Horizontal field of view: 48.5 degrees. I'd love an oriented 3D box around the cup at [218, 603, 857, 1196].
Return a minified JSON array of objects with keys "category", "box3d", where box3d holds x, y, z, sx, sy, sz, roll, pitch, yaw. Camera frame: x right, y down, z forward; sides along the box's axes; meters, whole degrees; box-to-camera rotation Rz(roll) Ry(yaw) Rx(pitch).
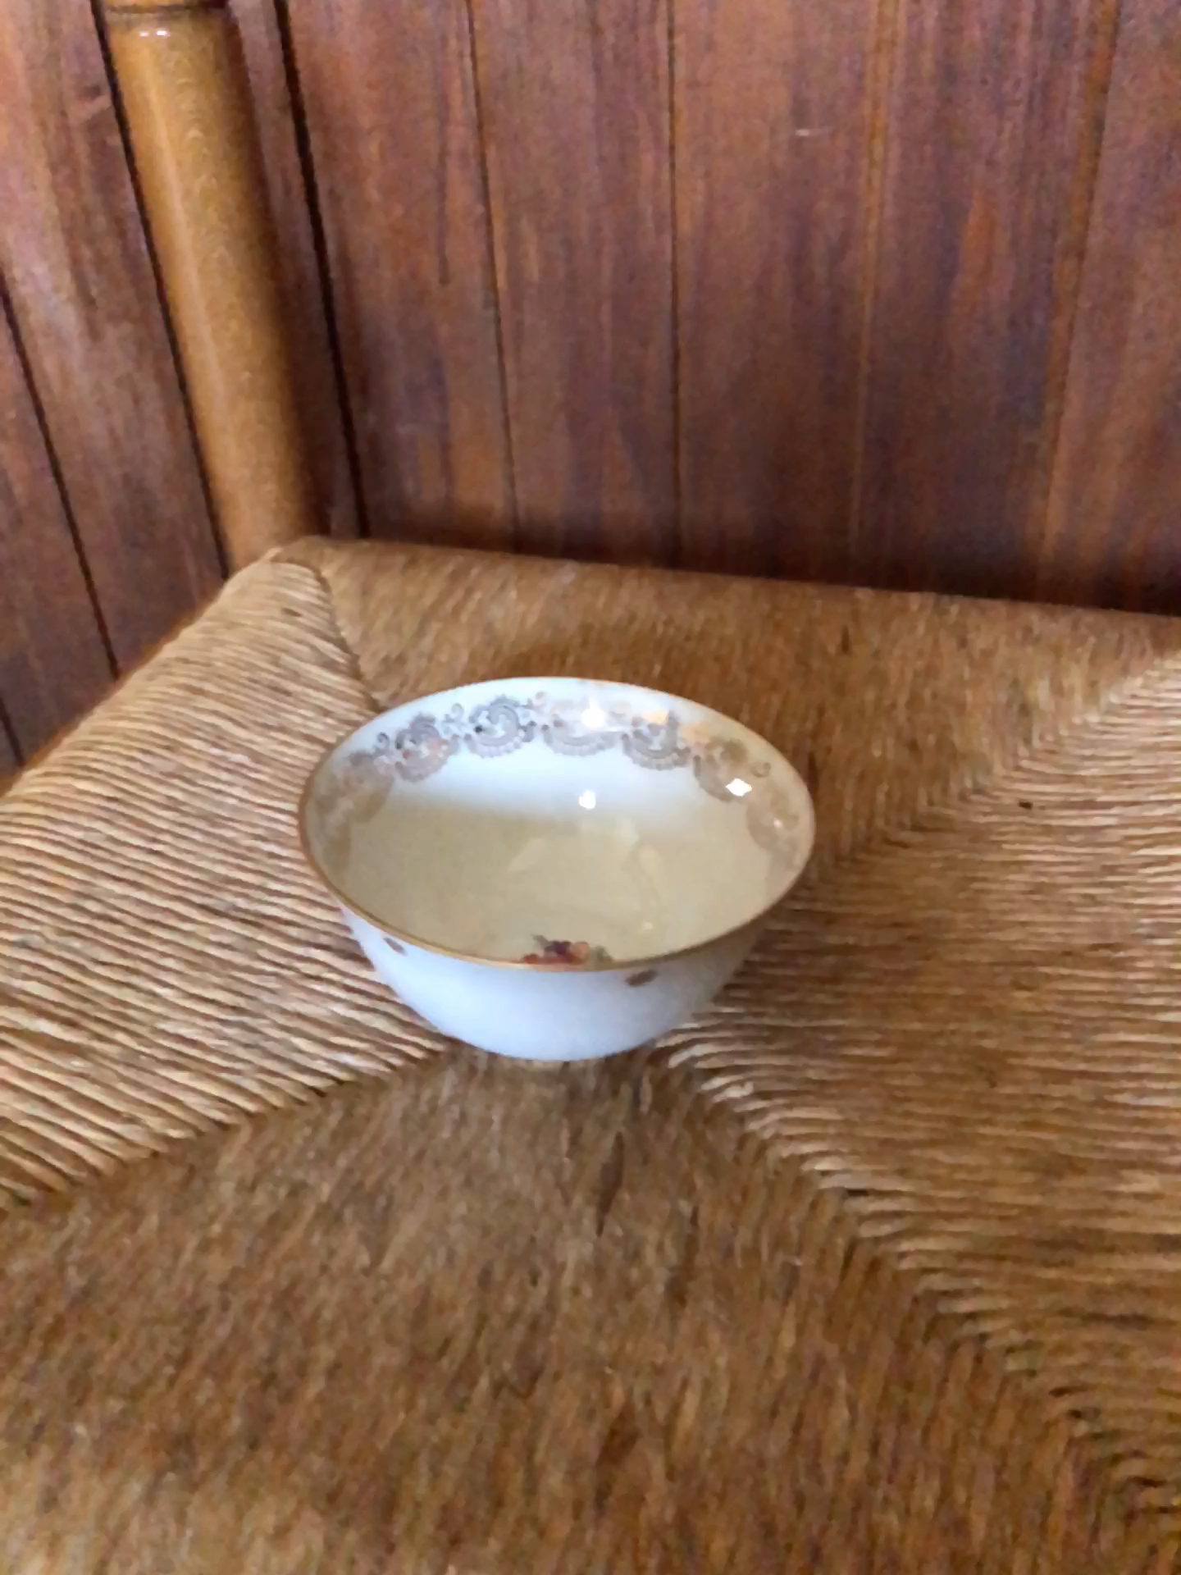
[{"category":"cup","box3d":[-0.001,0.015,0.303,0.110,0.050,0.131,7,37,12]}]
